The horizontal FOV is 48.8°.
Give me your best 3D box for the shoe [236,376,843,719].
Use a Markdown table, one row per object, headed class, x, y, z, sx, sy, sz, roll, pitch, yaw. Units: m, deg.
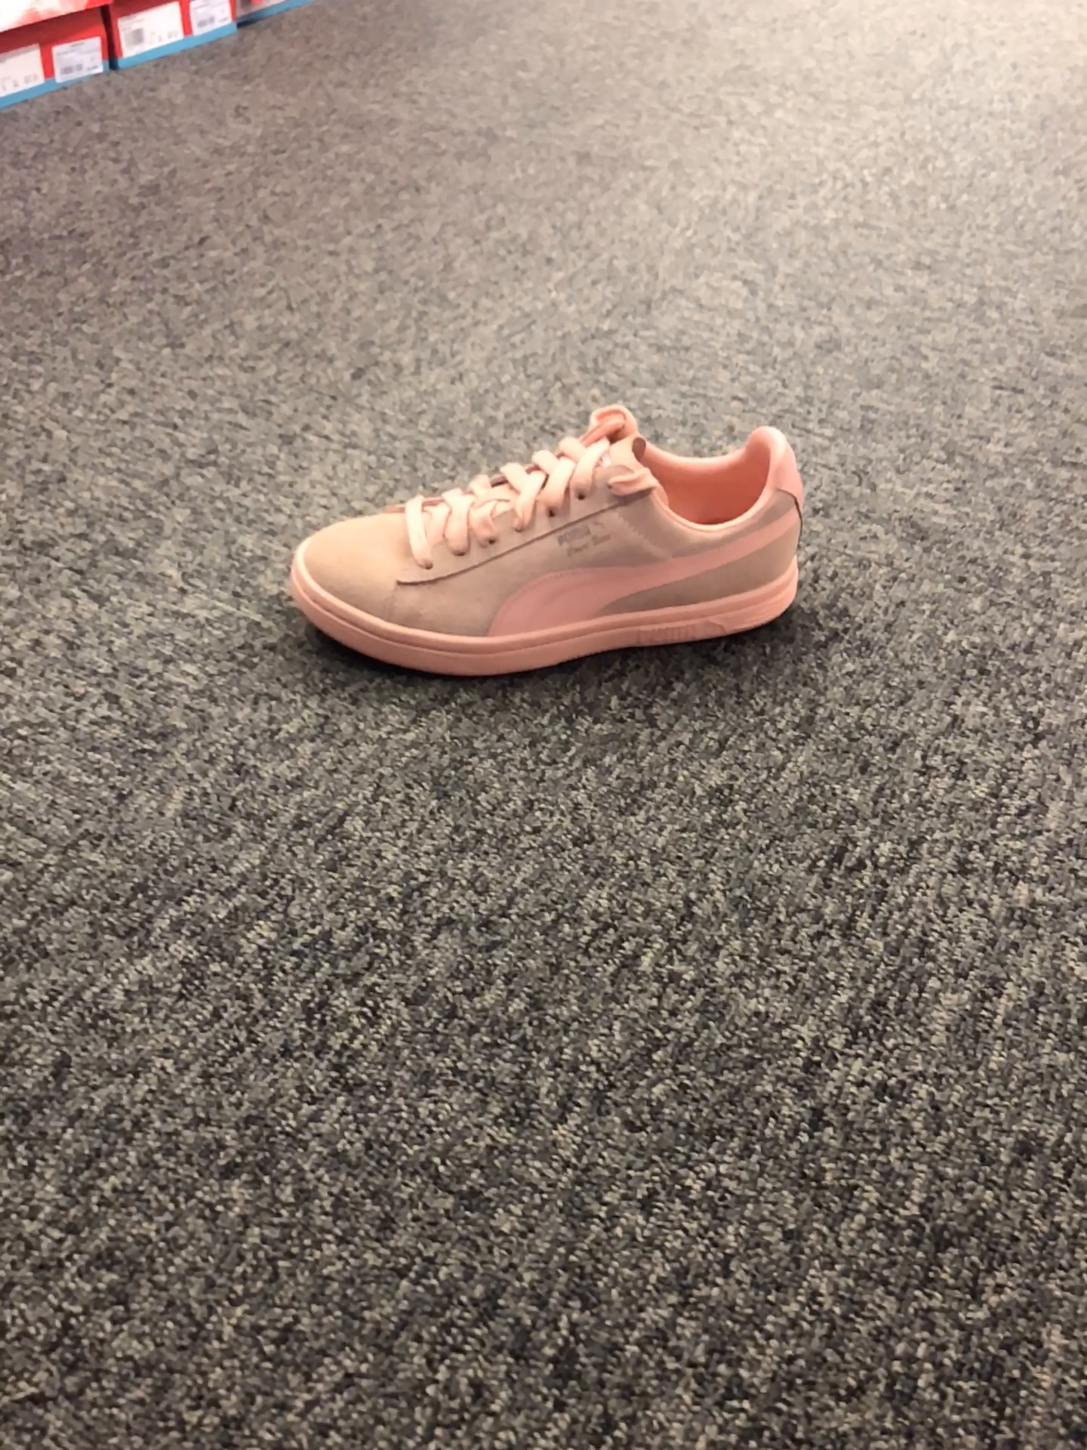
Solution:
| class | x | y | z | sx | sy | sz | roll | pitch | yaw |
| --- | --- | --- | --- | --- | --- | --- | --- | --- | --- |
| shoe | -0.001 | -0.083 | 0.560 | 0.253 | 0.090 | 0.093 | -7 | 43 | 1 |
